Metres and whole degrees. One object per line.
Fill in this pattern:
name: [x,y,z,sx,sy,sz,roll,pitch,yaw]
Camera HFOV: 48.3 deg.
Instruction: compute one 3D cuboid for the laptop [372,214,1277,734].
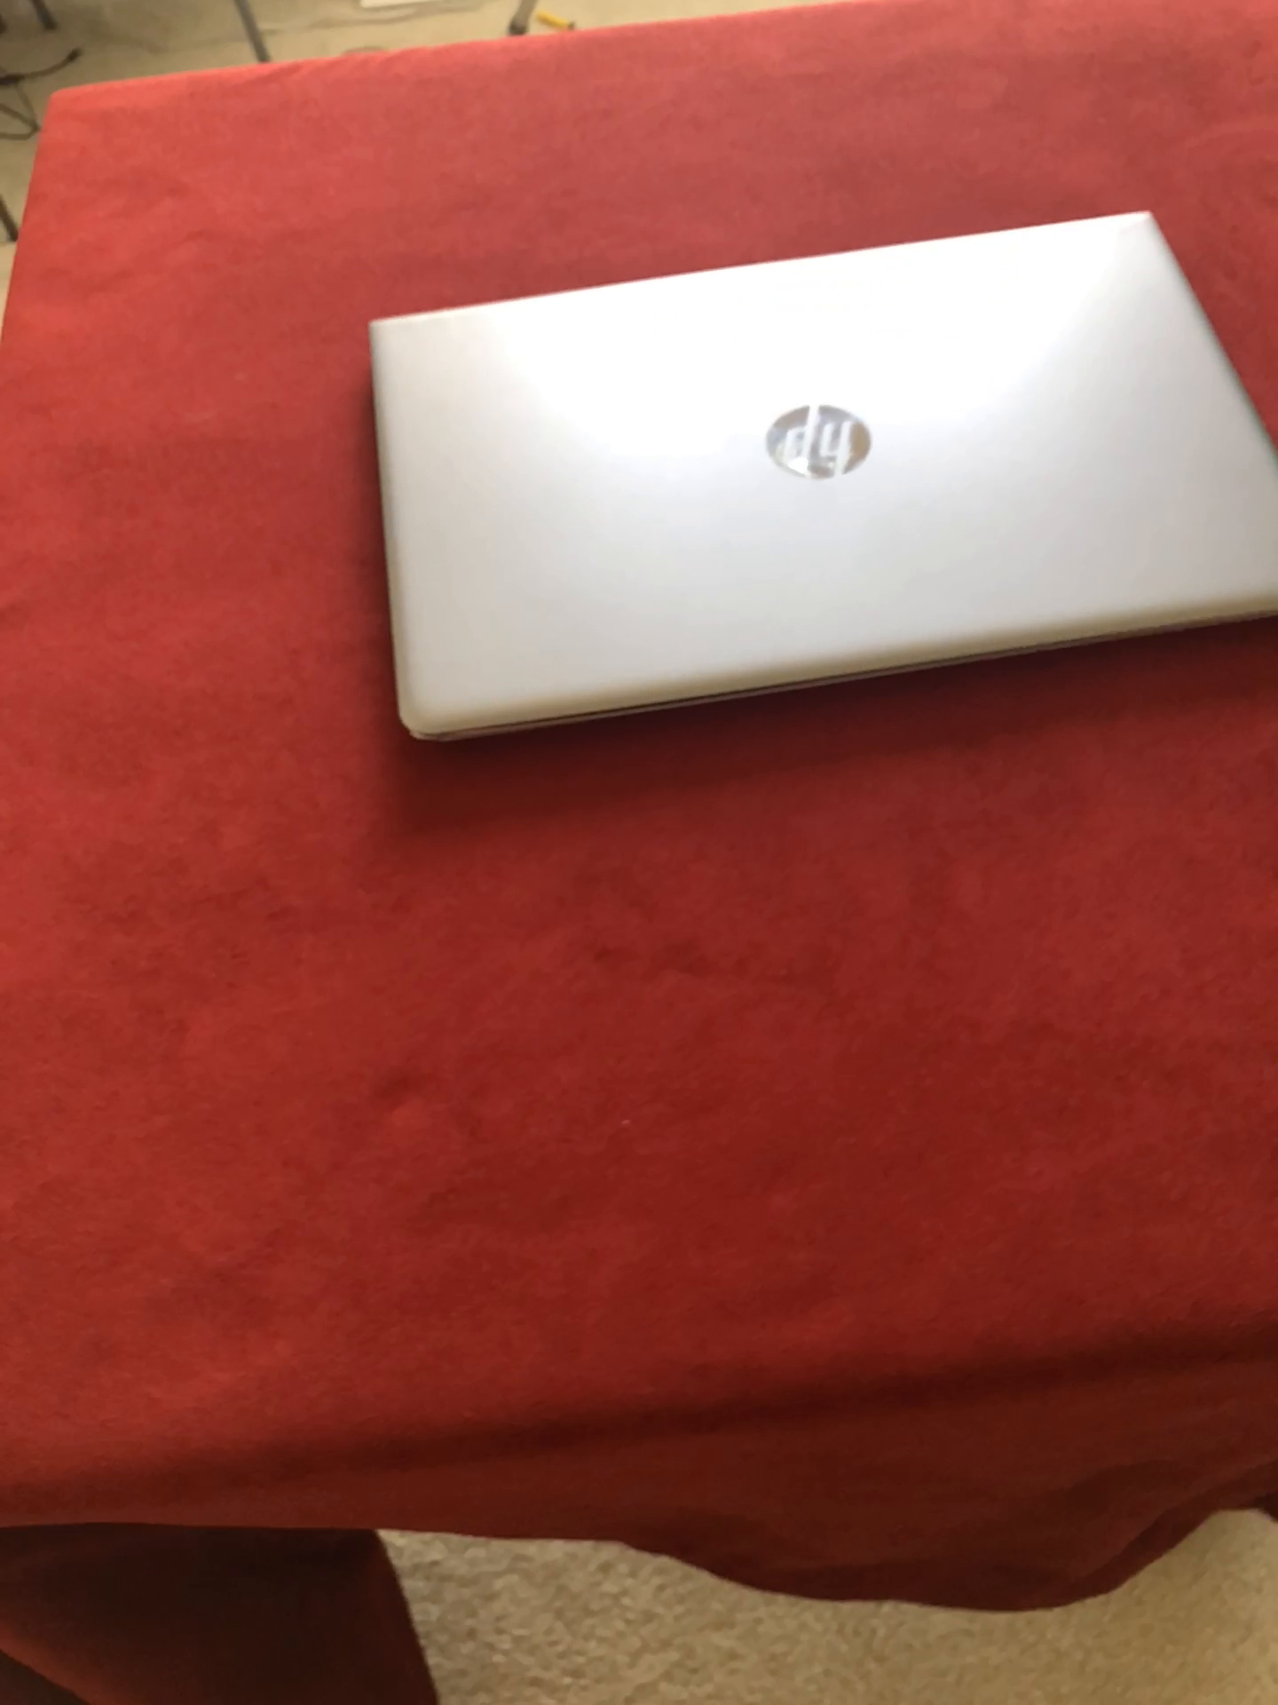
laptop: [0.077,-0.176,0.617,0.372,0.006,0.234,-9,60,-3]
